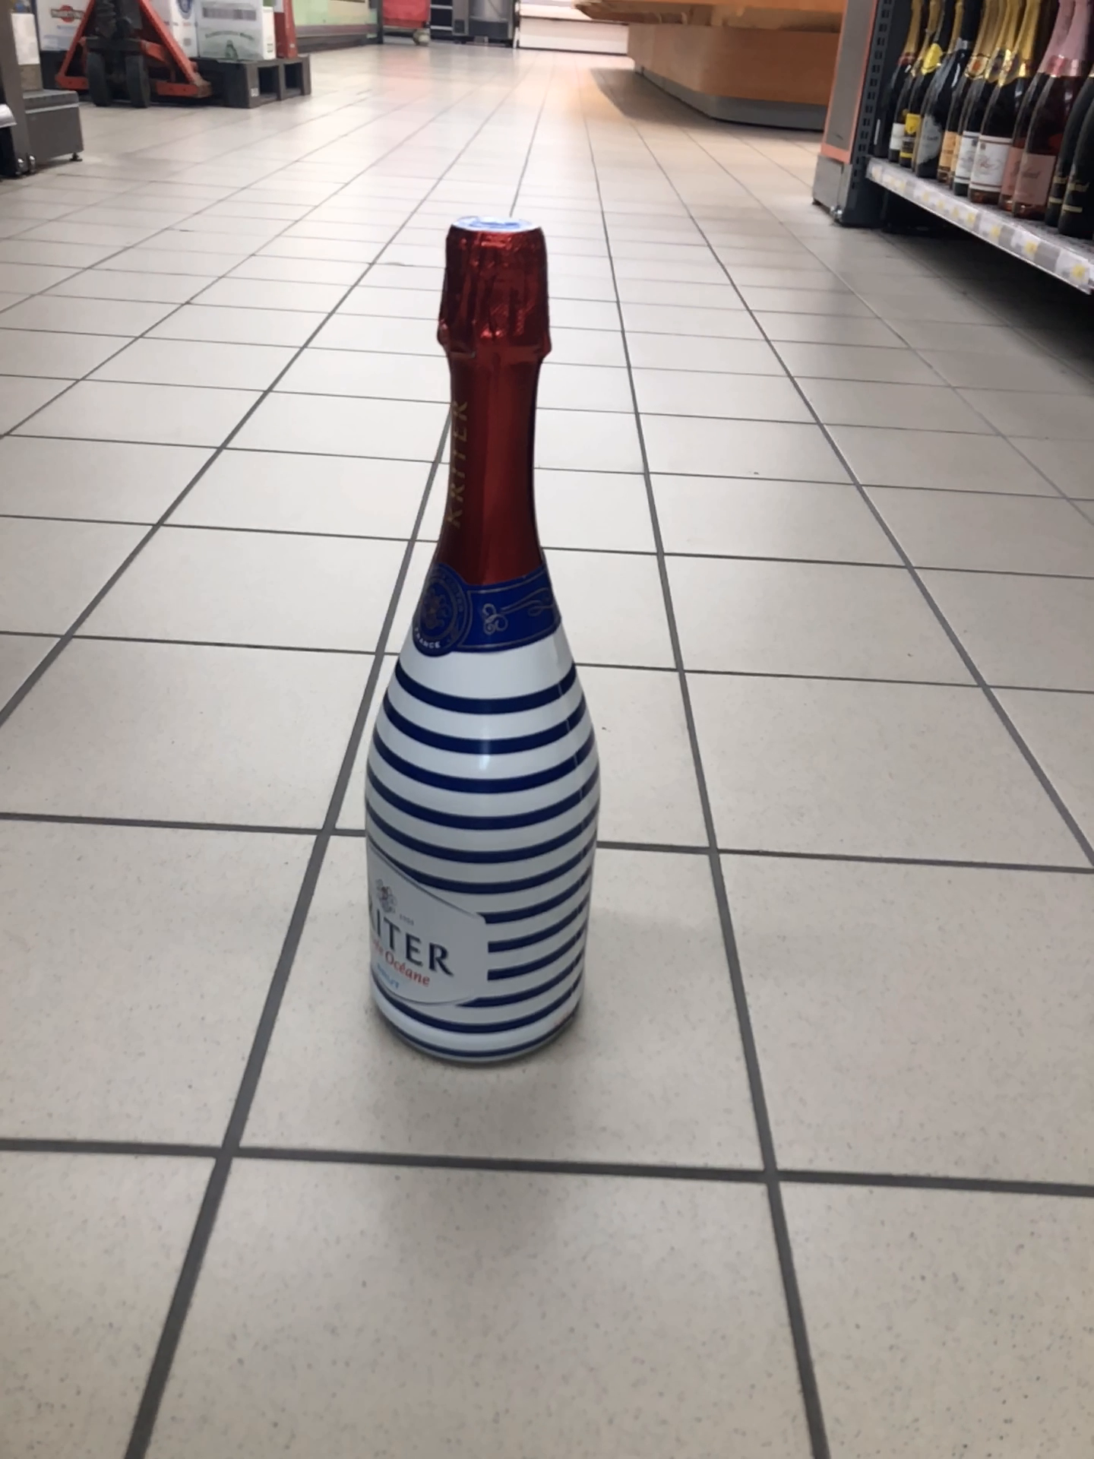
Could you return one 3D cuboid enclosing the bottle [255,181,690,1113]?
[{"bbox_3d":[-0.032,-0.025,0.434,0.090,0.308,0.100,-18,35,-35],"label":"bottle"}]
